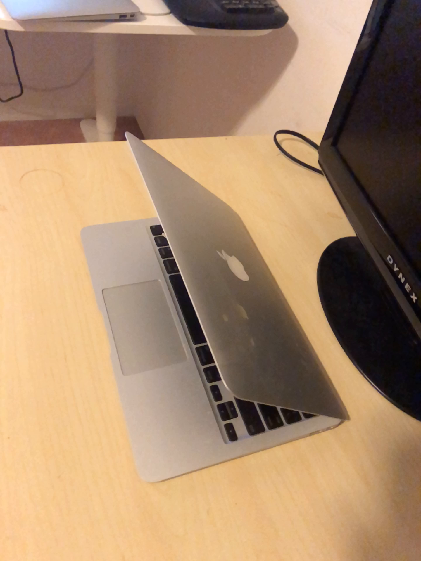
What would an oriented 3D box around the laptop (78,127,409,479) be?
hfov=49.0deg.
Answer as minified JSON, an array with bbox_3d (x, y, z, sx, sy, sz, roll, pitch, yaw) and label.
[{"bbox_3d":[-0.001,-0.006,0.432,0.189,0.127,0.288,-9,51,-20],"label":"laptop"}]
